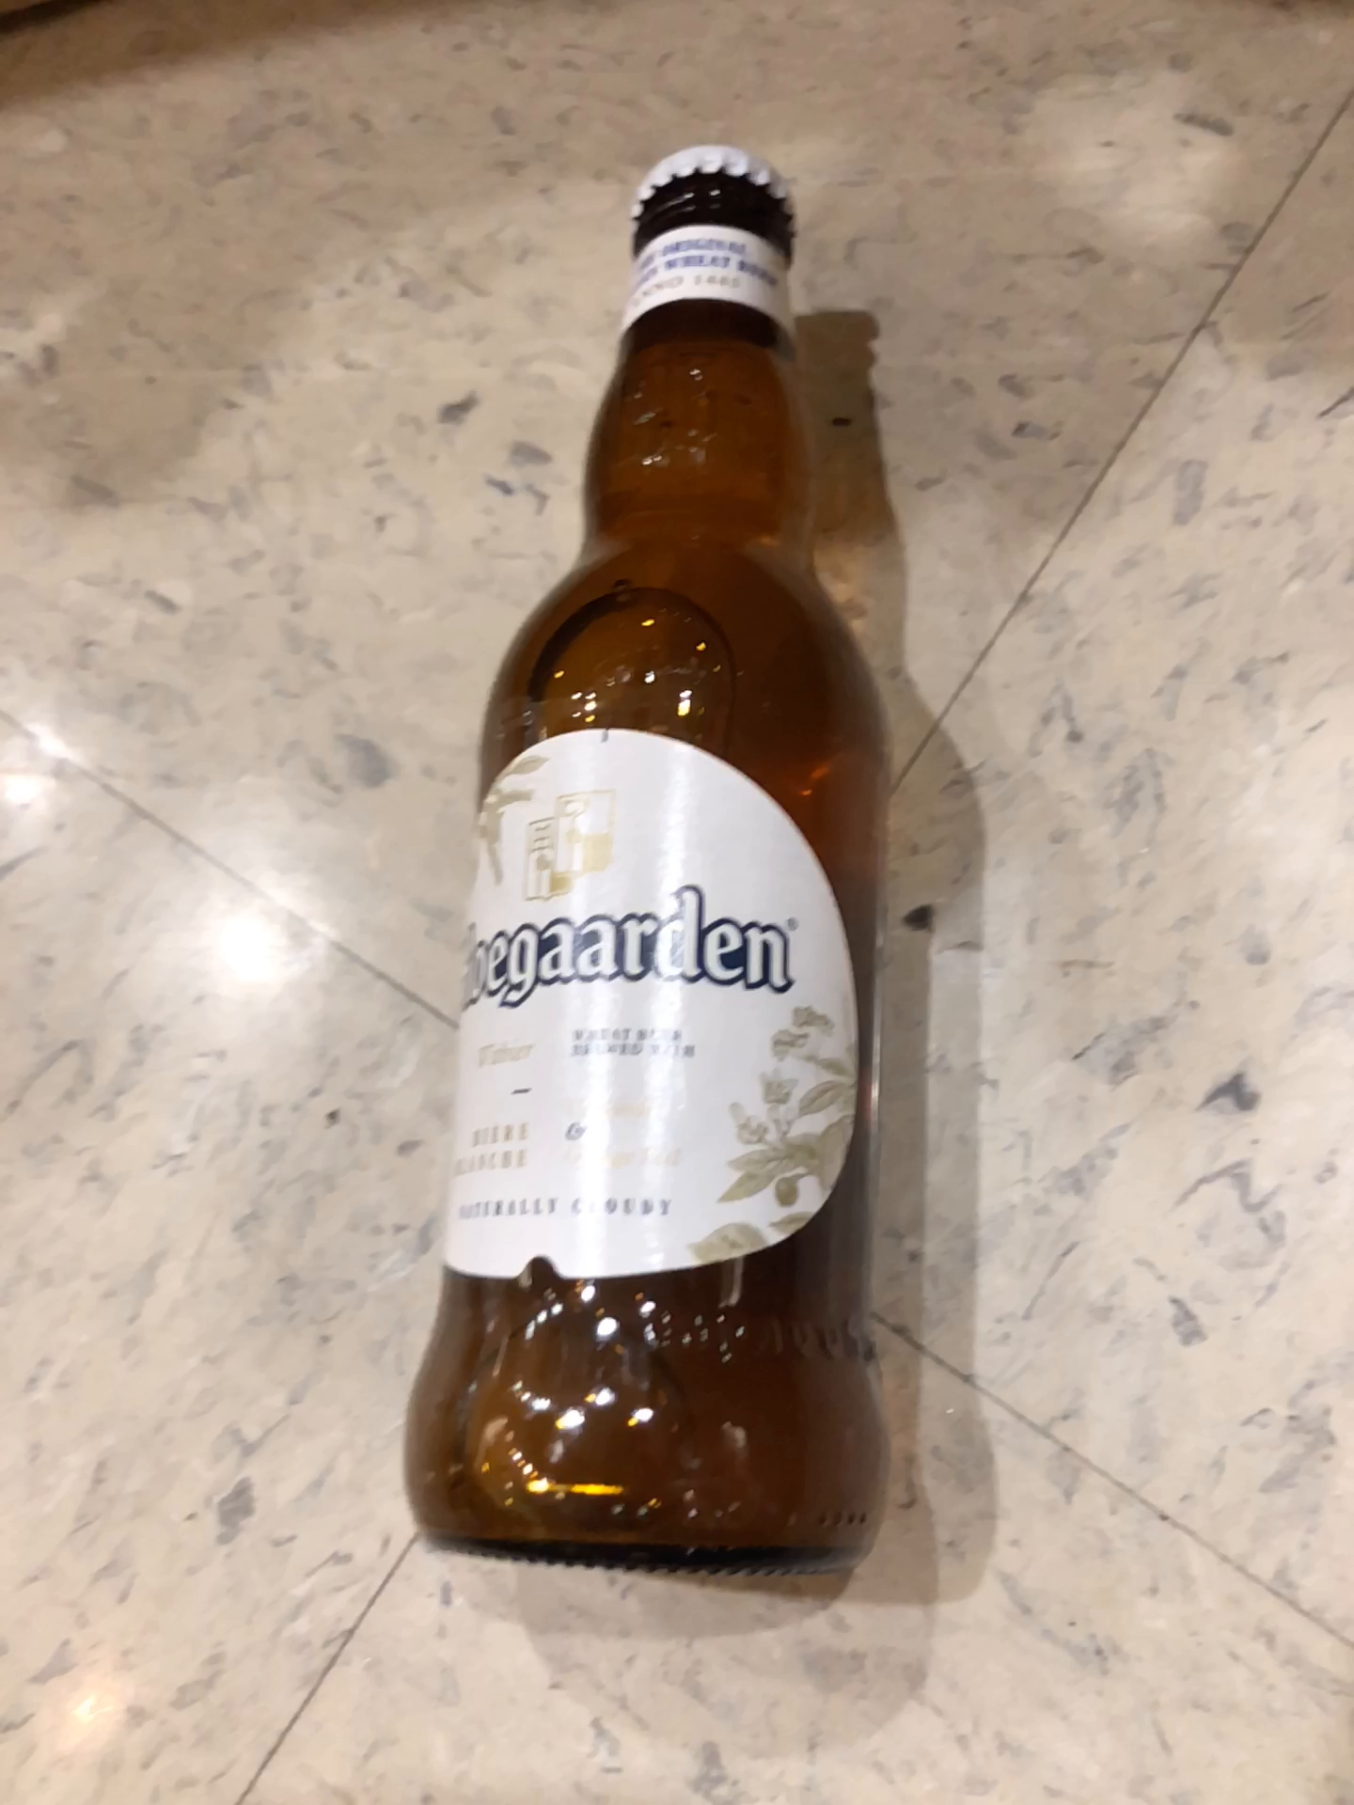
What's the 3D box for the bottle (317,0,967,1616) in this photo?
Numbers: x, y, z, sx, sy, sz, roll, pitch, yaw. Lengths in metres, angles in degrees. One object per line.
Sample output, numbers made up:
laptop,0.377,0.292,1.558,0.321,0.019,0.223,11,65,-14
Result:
bottle,0.003,-0.024,0.228,0.070,0.050,0.230,-4,70,16
